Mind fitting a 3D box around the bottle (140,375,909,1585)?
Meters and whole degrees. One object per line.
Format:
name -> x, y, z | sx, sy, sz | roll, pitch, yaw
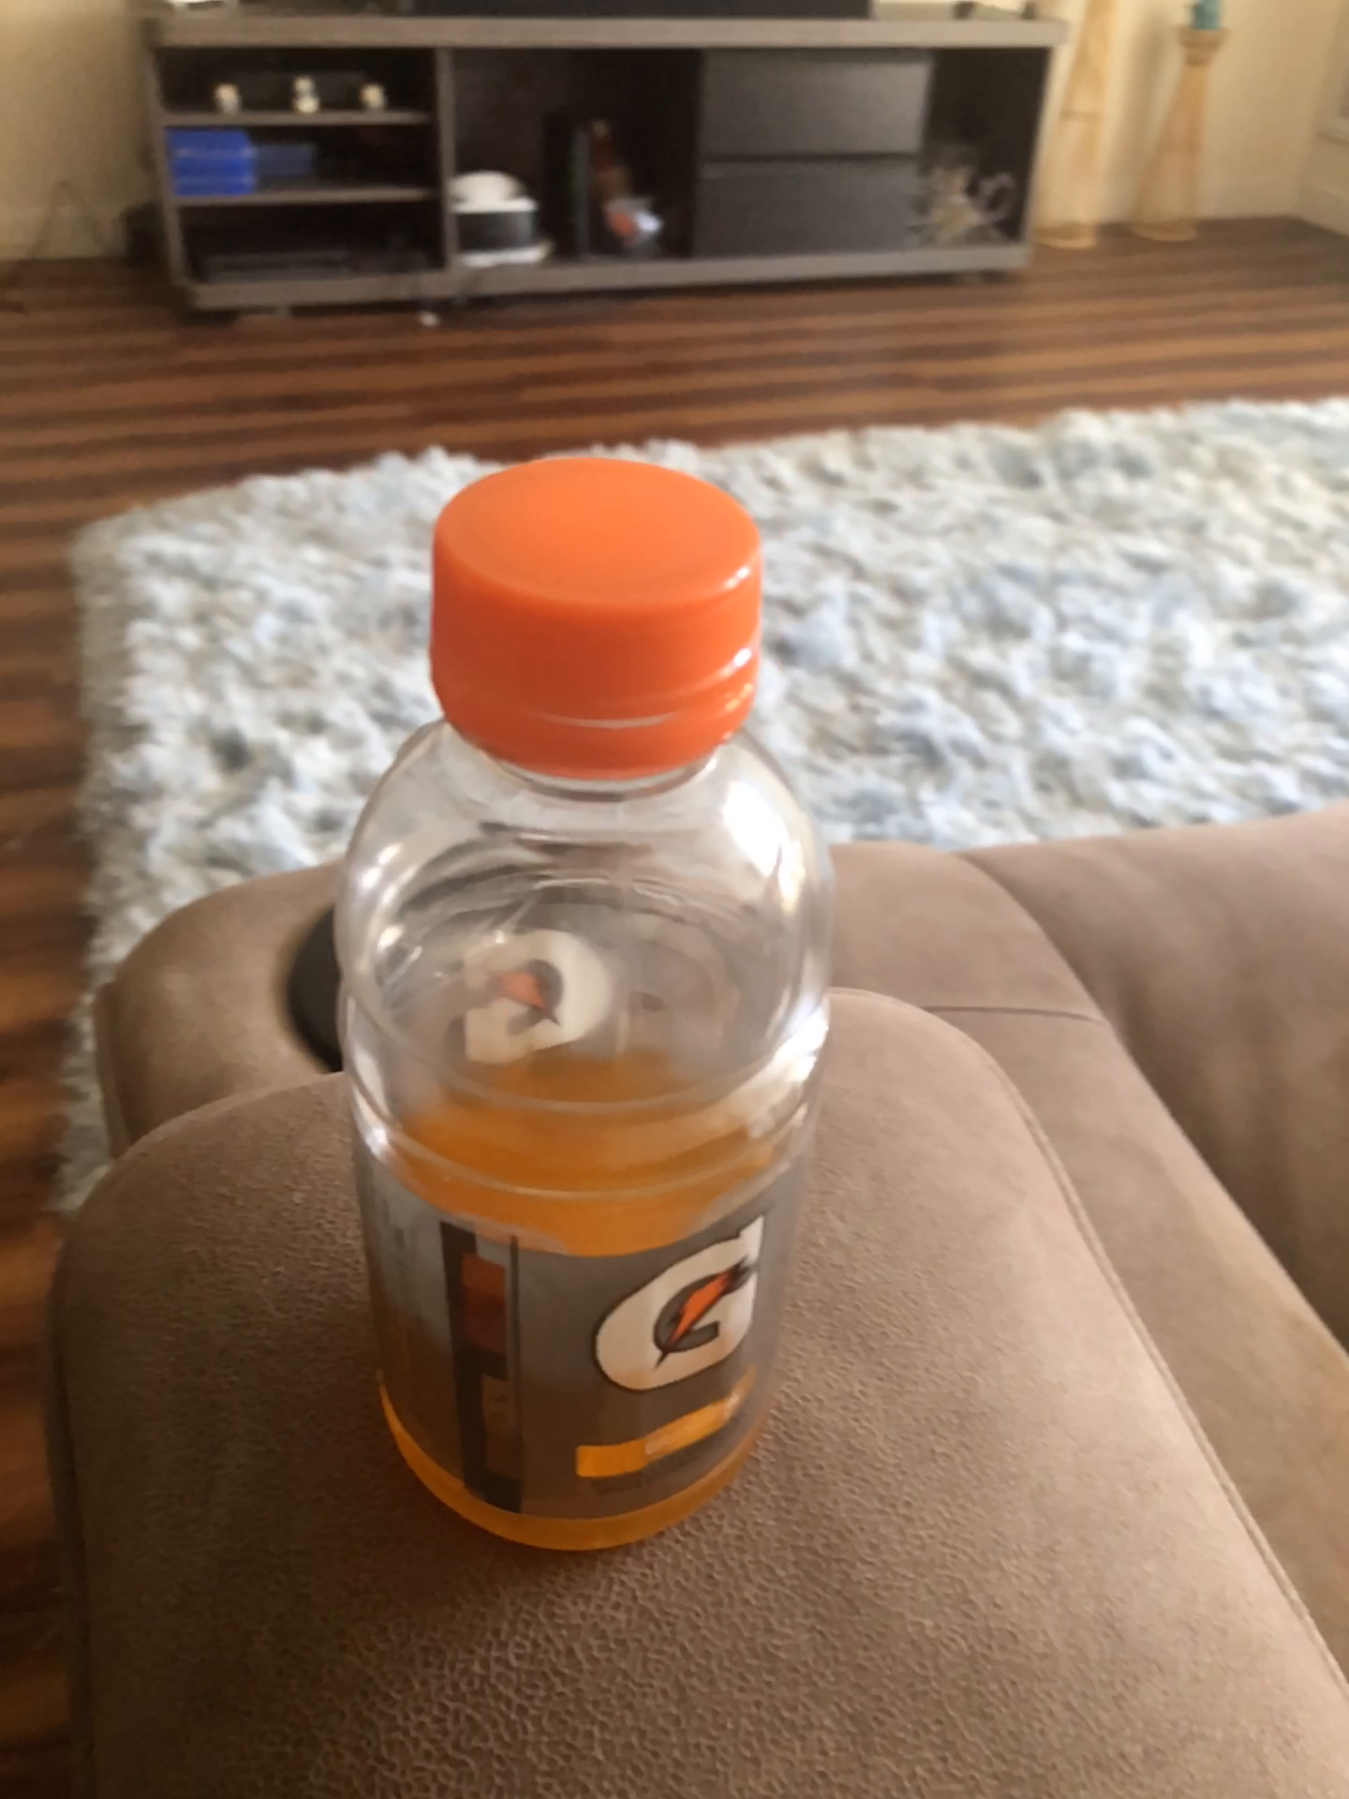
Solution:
bottle -> -0.014, 0.017, 0.207 | 0.070, 0.149, 0.070 | 2, 36, -1
